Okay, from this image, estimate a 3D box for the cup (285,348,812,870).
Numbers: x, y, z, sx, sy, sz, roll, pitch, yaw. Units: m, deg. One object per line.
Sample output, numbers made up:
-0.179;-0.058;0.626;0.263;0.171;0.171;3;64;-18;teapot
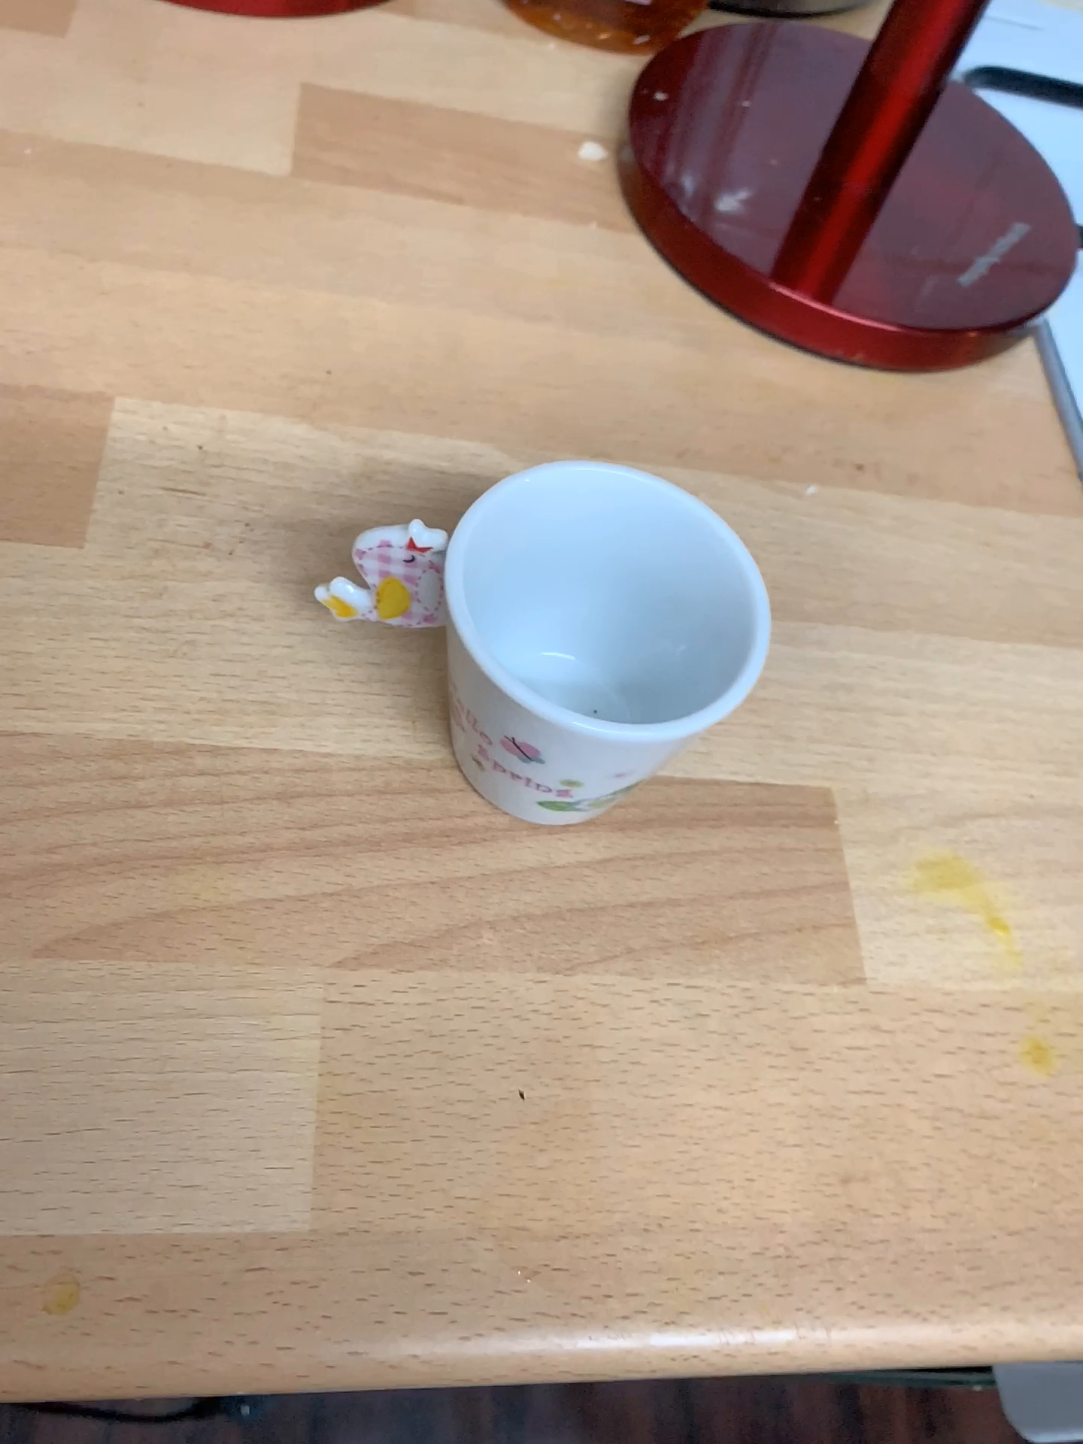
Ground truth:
0.001;-0.020;0.218;0.080;0.050;0.060;20;58;-2;cup
